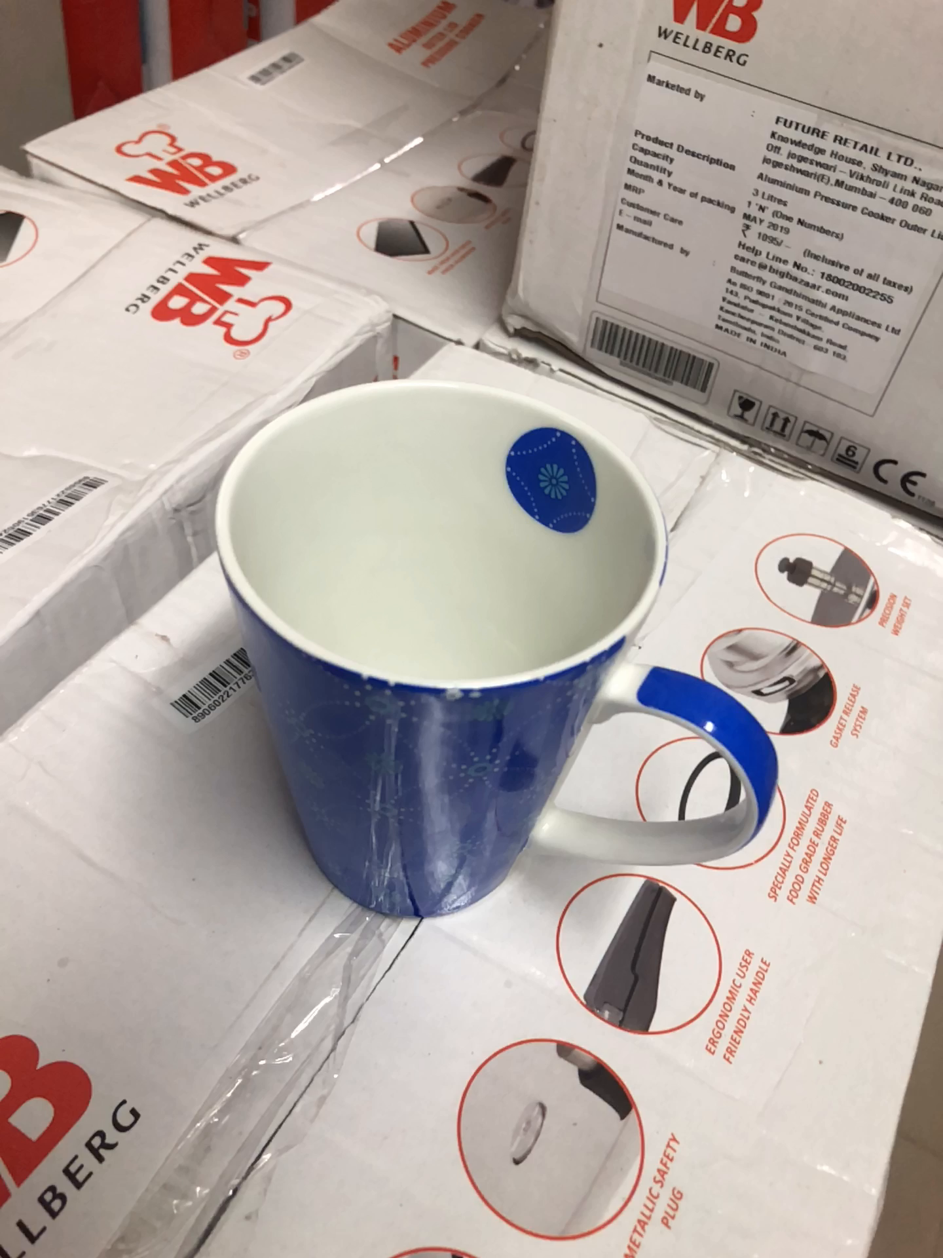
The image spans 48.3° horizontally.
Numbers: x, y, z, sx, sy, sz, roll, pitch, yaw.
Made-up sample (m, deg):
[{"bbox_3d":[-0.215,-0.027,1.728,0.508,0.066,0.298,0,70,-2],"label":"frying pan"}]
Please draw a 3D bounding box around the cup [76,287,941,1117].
[{"bbox_3d":[0.005,0.012,0.205,0.120,0.089,0.080,27,50,12],"label":"cup"}]
